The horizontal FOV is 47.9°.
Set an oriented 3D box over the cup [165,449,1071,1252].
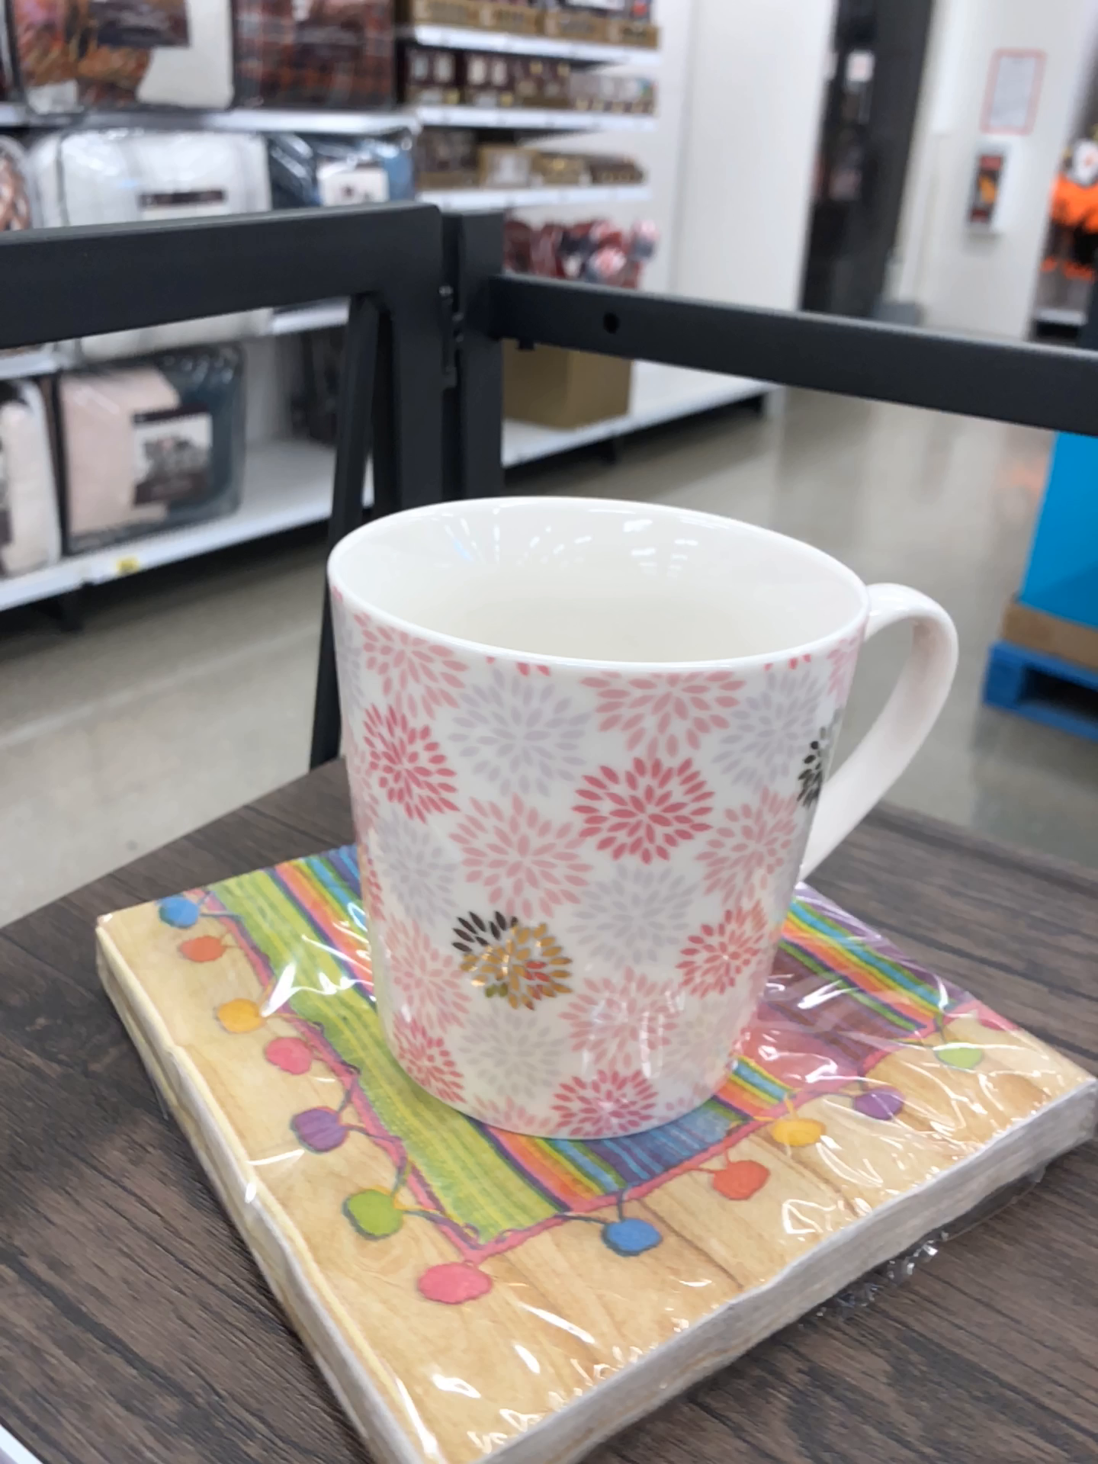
[{"bbox_3d":[0.009,0.009,0.256,0.140,0.100,0.100,-13,30,-27],"label":"cup"}]
